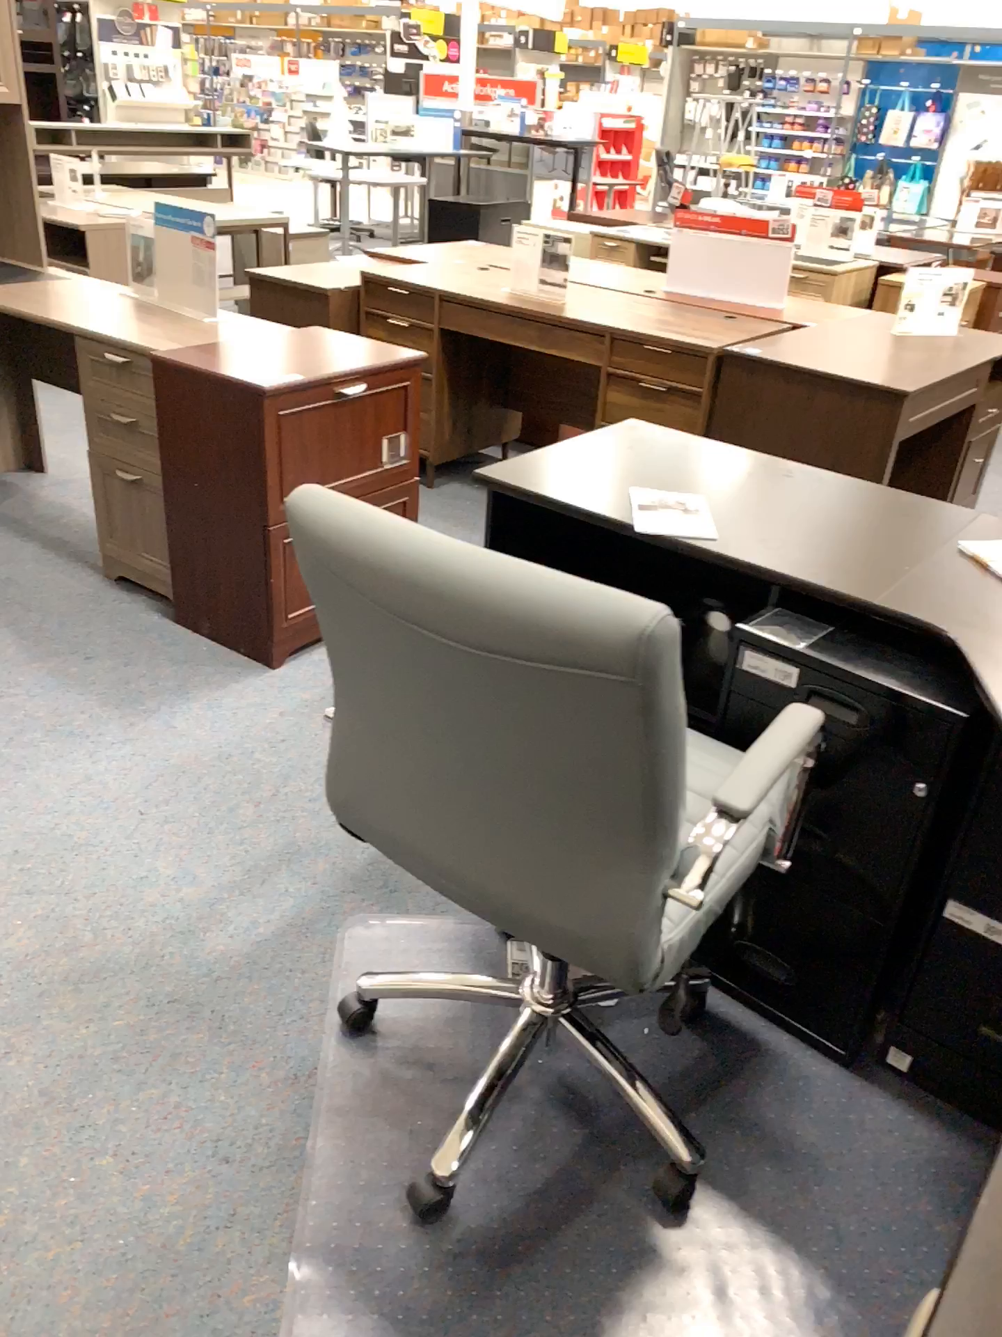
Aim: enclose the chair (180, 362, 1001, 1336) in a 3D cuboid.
[{"bbox_3d":[0.107,0.192,1.358,0.659,0.962,0.709,26,35,33],"label":"chair"}]
